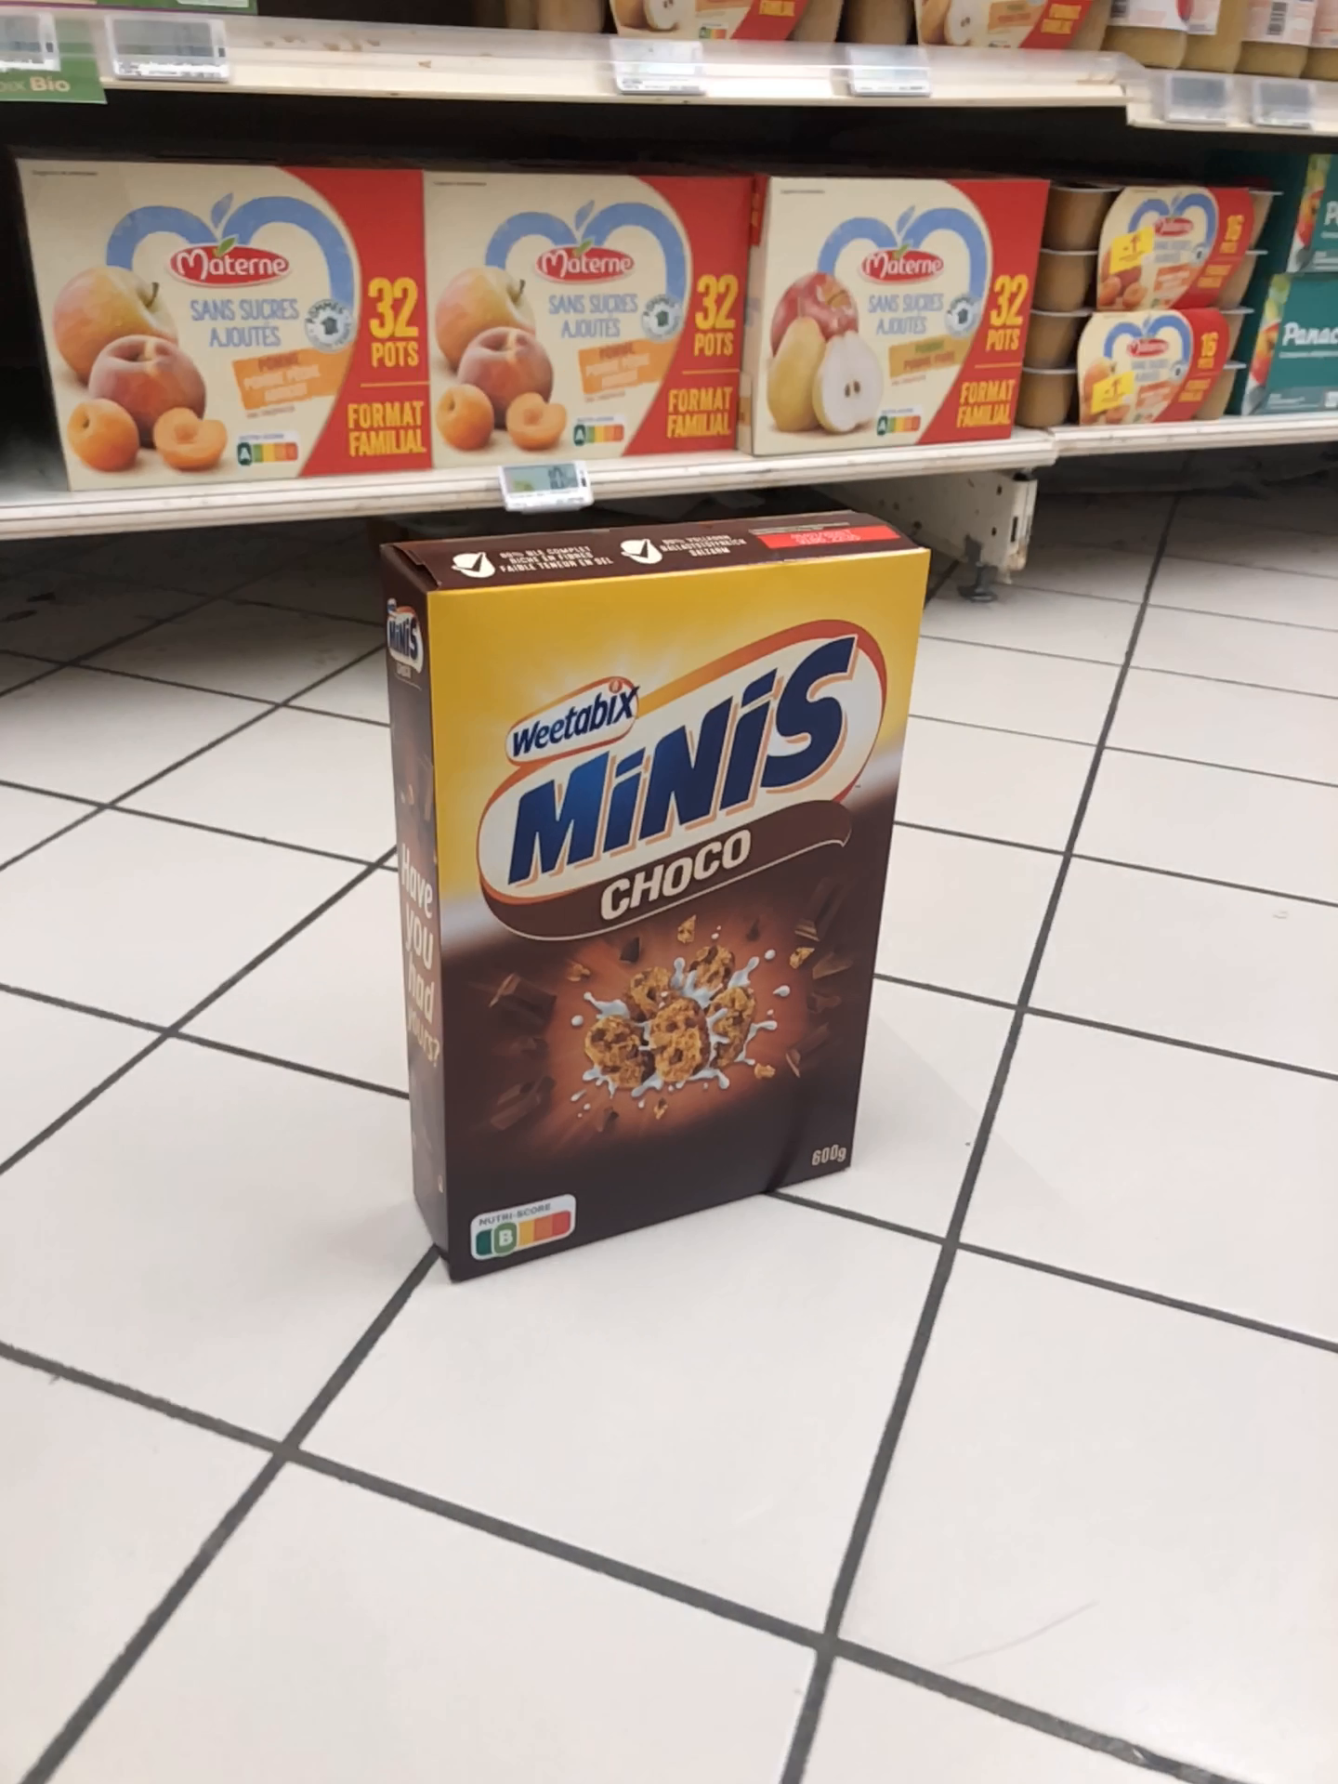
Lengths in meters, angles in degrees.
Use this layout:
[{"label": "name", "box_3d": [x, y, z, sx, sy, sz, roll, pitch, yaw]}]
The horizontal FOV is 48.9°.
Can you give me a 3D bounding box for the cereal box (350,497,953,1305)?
[{"label": "cereal box", "box_3d": [-0.010, 0.002, 0.592, 0.201, 0.288, 0.080, -11, 30, -23]}]
